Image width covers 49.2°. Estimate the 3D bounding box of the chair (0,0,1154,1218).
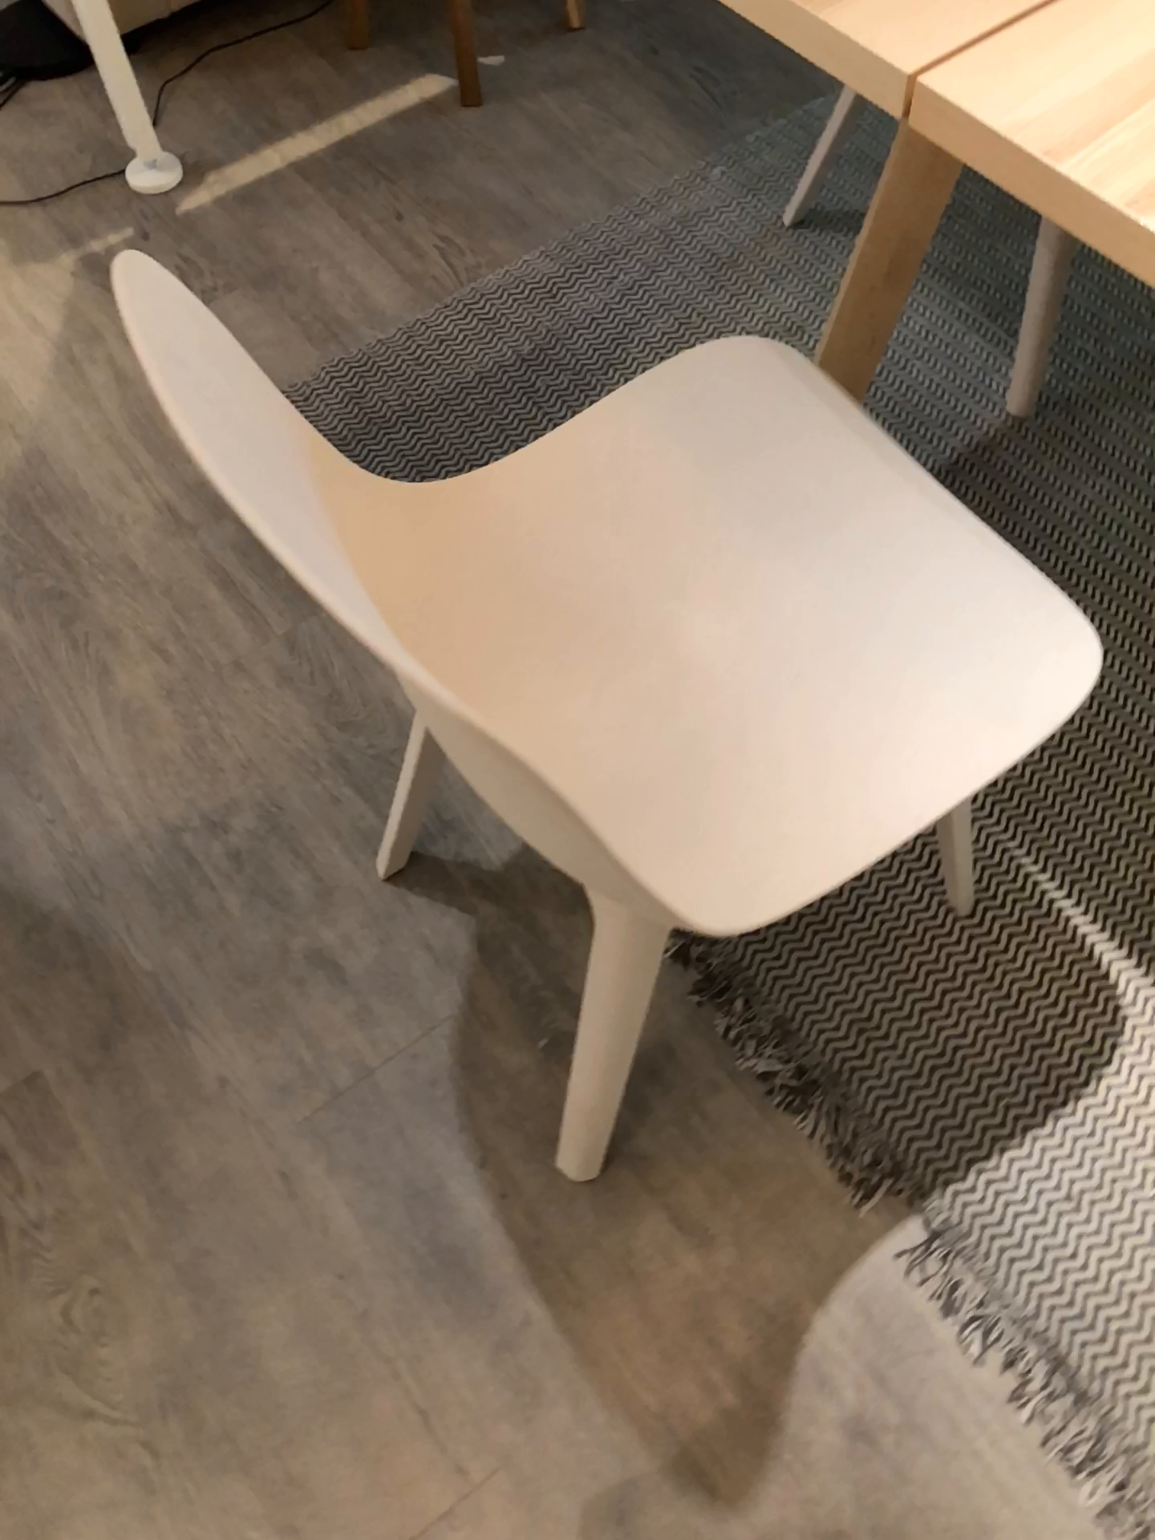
[{"bbox_3d":[0.050,-0.098,0.911,0.510,0.767,0.462,-32,63,-14],"label":"chair"}]
